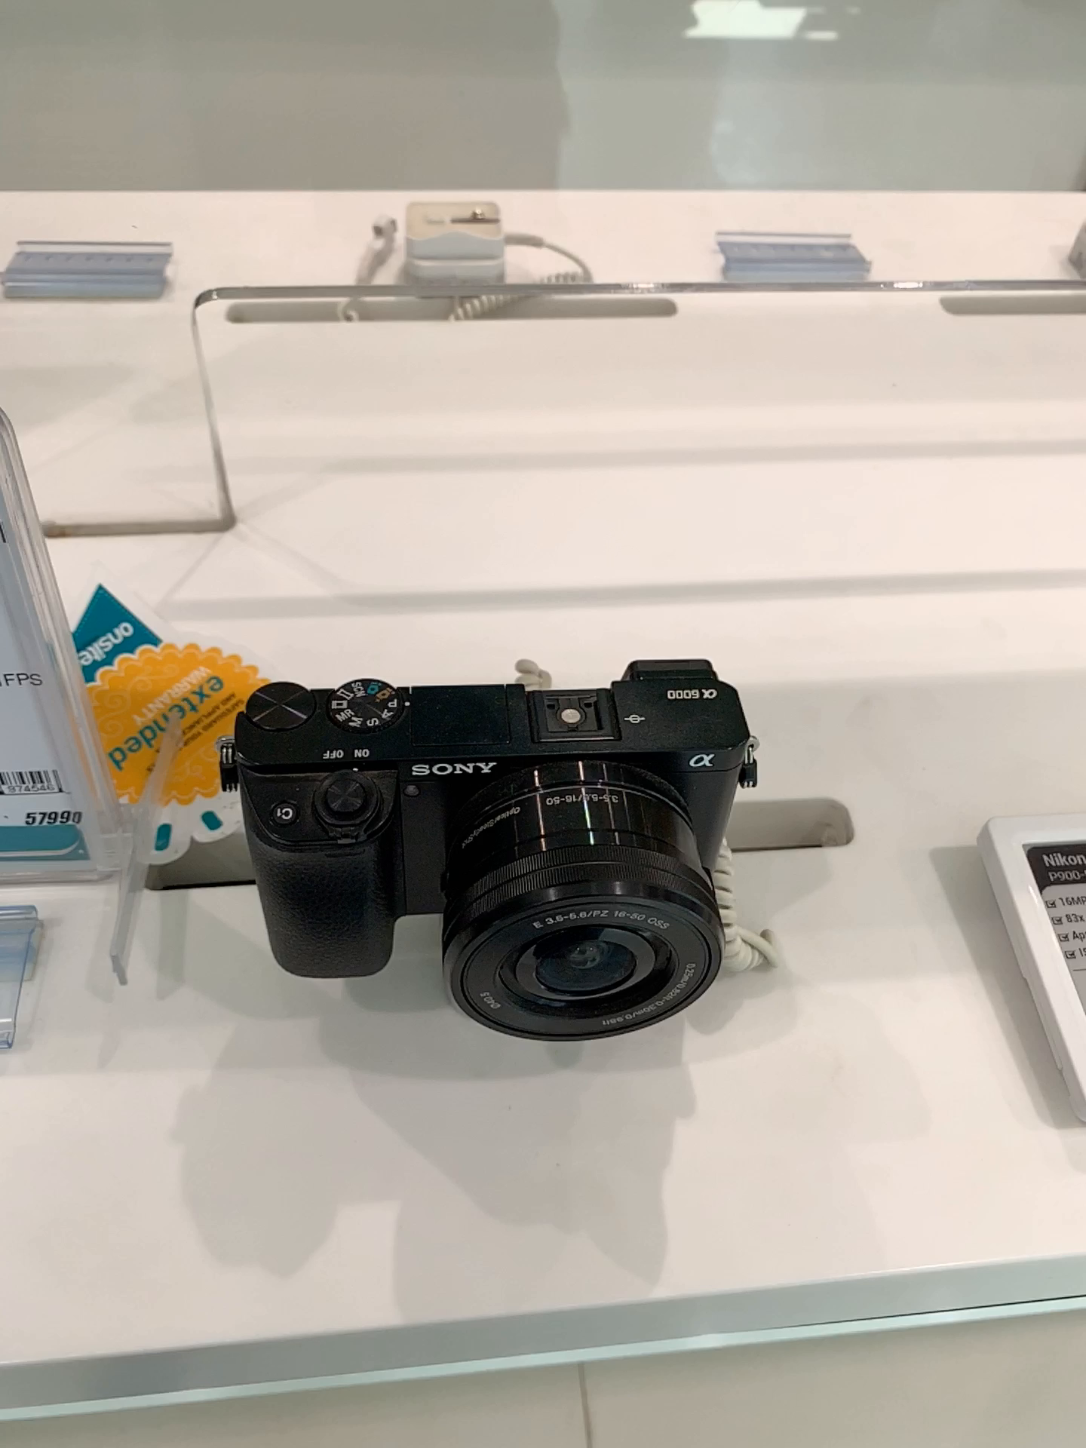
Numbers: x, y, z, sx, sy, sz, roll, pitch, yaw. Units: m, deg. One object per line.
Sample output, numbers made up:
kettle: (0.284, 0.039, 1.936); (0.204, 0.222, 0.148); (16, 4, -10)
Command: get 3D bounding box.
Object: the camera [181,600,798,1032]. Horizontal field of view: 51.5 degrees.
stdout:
camera: (-0.012, 0.019, 0.232); (0.104, 0.063, 0.059); (-2, 49, -5)
